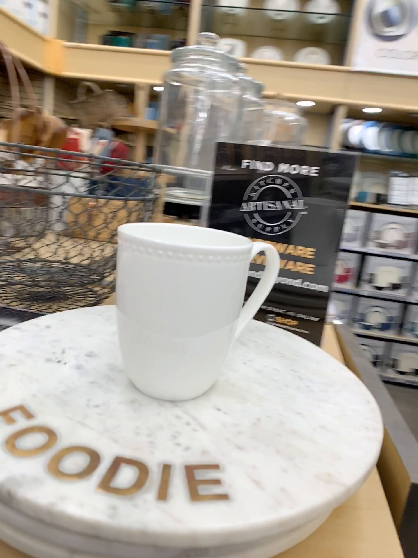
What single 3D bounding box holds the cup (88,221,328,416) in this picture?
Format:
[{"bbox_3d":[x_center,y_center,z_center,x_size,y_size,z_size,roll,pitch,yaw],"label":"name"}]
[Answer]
[{"bbox_3d":[-0.005,0.017,0.300,0.125,0.094,0.096,-1,15,-33],"label":"cup"}]
